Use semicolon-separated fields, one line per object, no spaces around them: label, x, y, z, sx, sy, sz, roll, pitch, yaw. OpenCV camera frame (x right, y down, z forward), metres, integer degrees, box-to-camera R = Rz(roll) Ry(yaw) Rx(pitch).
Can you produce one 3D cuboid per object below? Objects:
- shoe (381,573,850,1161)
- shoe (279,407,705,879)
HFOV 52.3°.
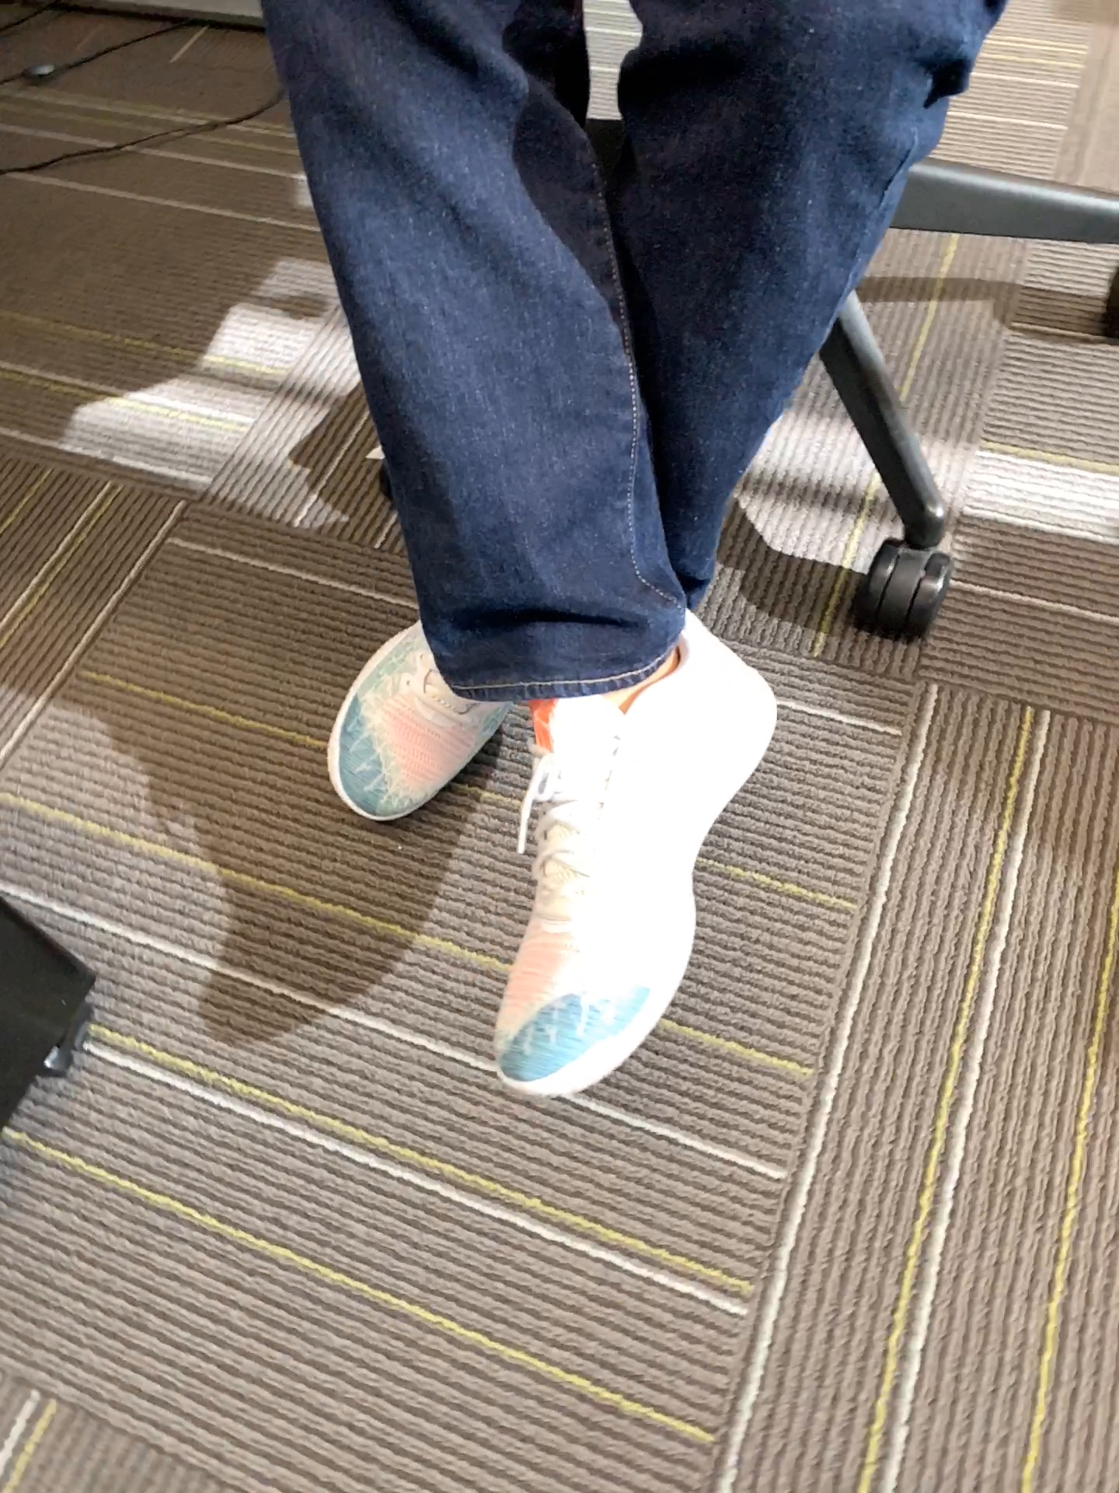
shoe;0.033;0.058;0.606;0.113;0.108;0.265;35;68;-20
shoe;-0.042;-0.069;0.750;0.115;0.109;0.286;39;66;-6
